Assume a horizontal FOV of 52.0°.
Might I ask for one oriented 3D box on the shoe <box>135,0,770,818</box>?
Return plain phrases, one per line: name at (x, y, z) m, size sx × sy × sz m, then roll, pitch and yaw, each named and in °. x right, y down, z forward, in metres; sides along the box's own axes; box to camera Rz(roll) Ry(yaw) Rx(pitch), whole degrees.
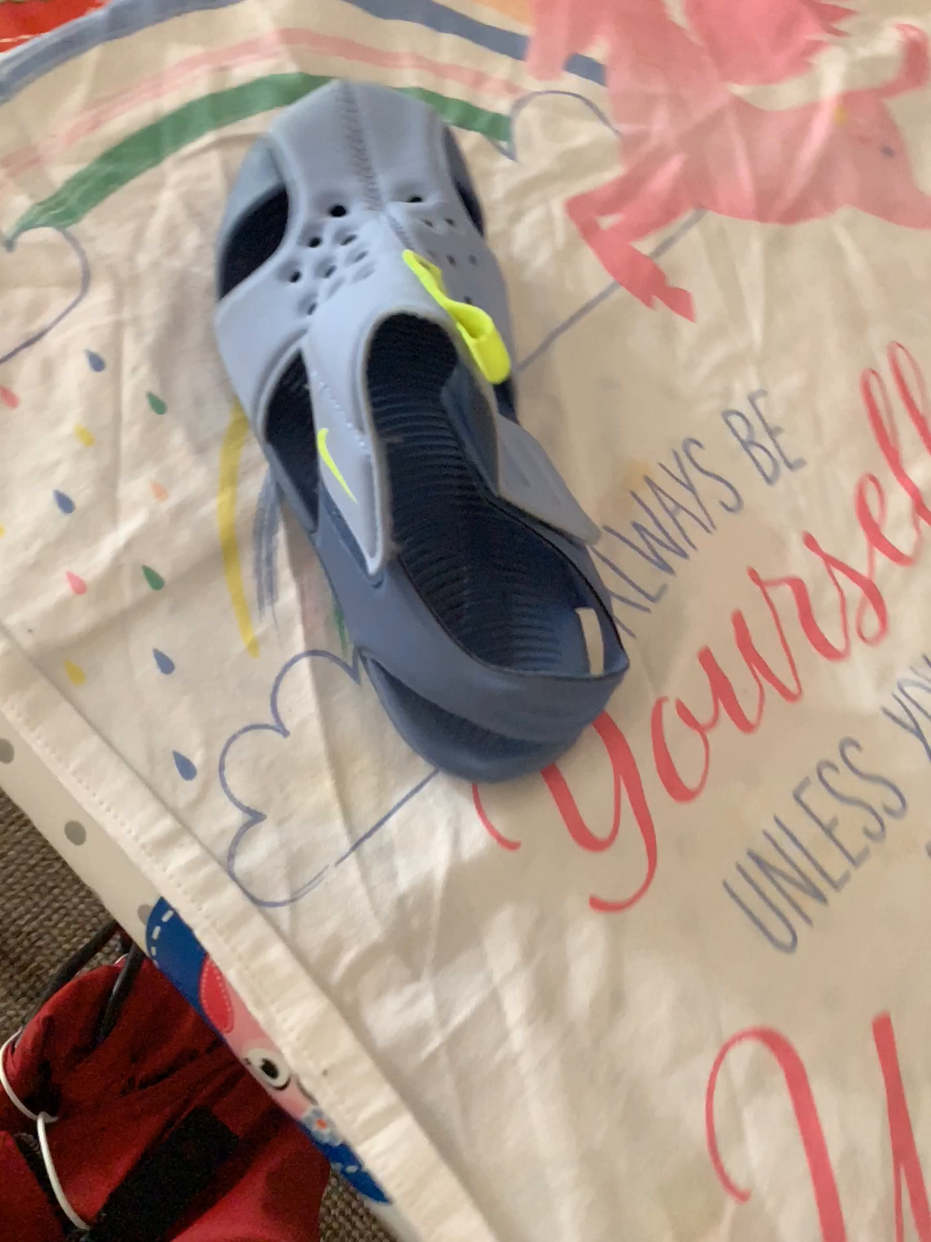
shoe at (-0.014, -0.066, 0.262) m, size 0.086 × 0.090 × 0.216 m, roll -15°, pitch 79°, yaw -13°
